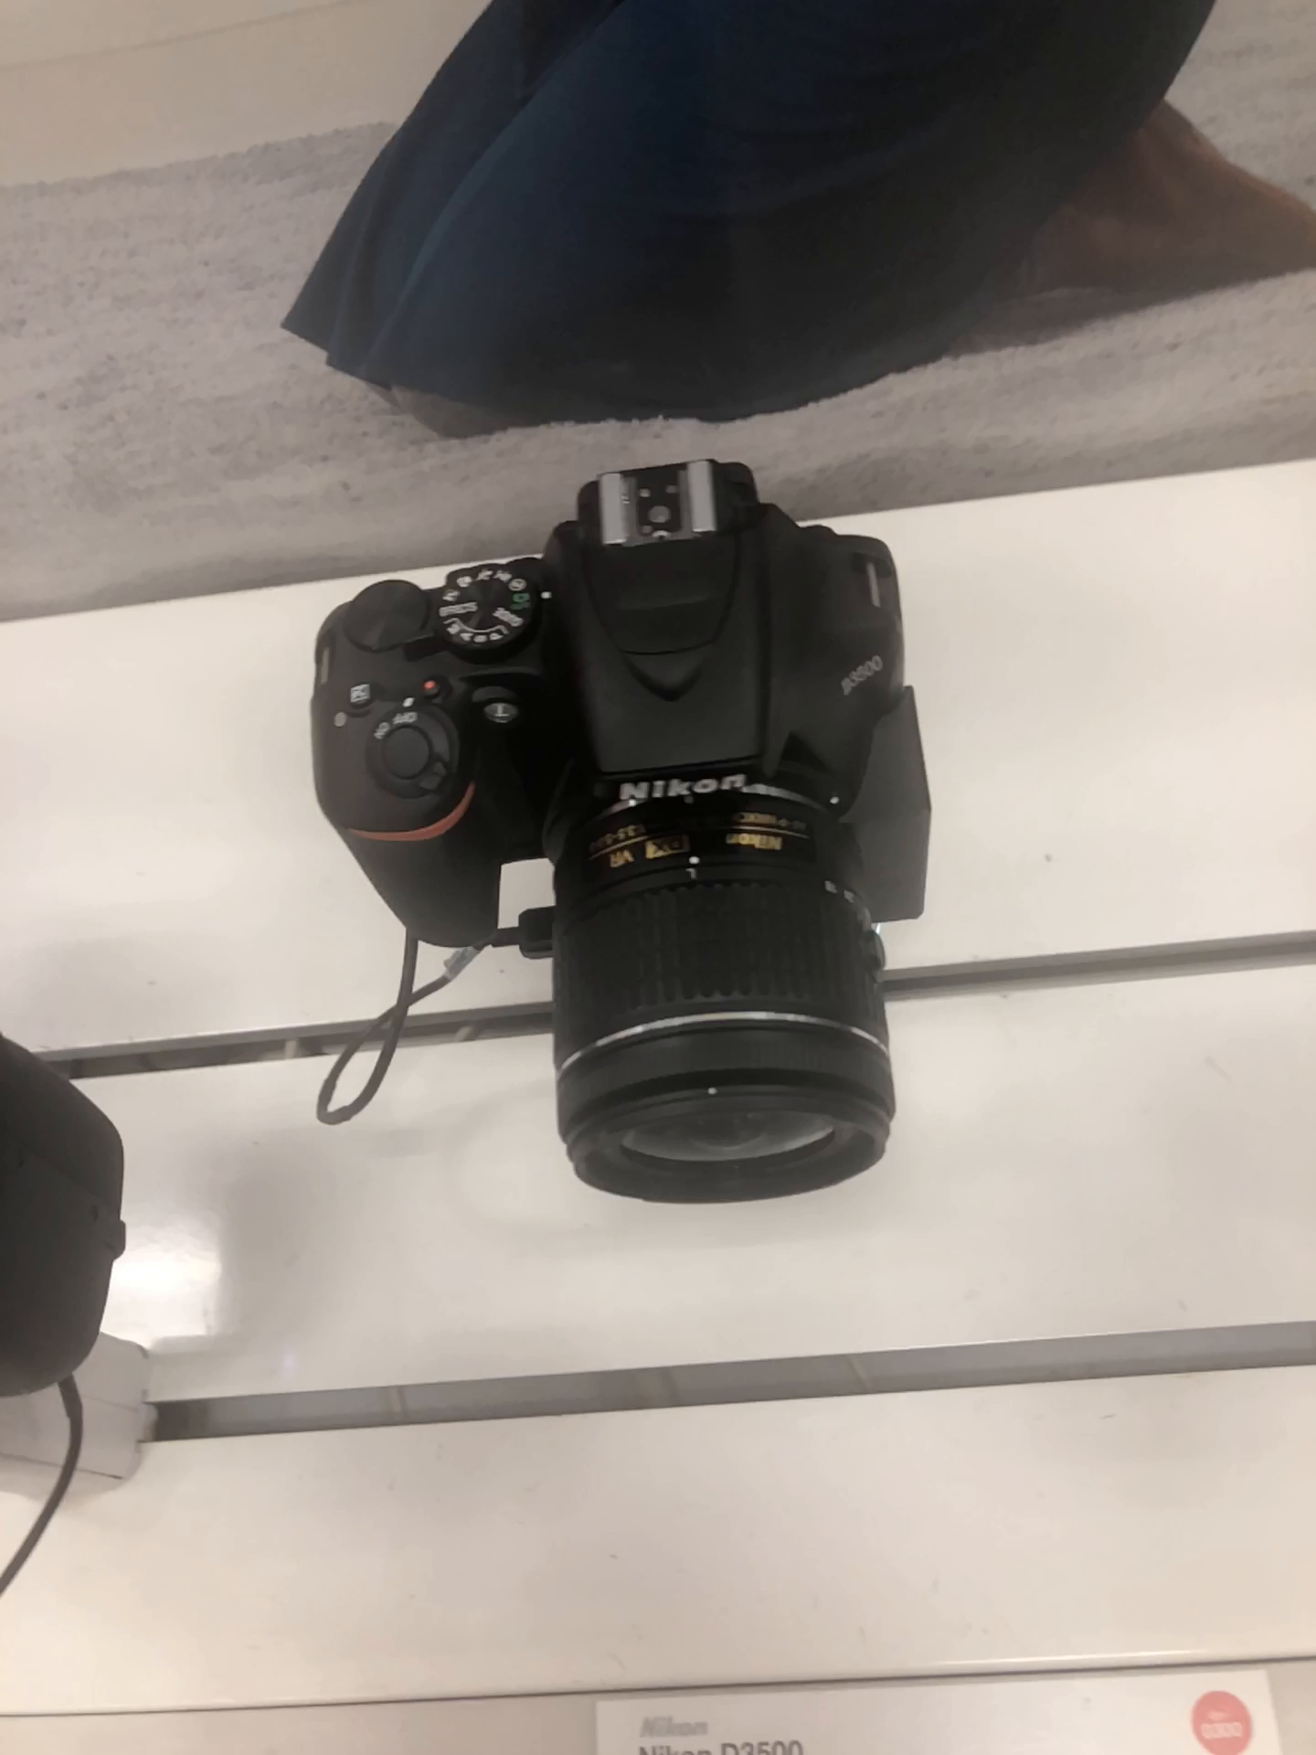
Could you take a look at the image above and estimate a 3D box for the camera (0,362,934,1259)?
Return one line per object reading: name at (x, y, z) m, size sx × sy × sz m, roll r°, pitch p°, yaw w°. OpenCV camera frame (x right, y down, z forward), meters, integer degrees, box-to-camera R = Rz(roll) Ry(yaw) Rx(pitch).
camera at (-0.027, -0.008, 0.280) m, size 0.140 × 0.090 × 0.130 m, roll -6°, pitch 63°, yaw 6°
